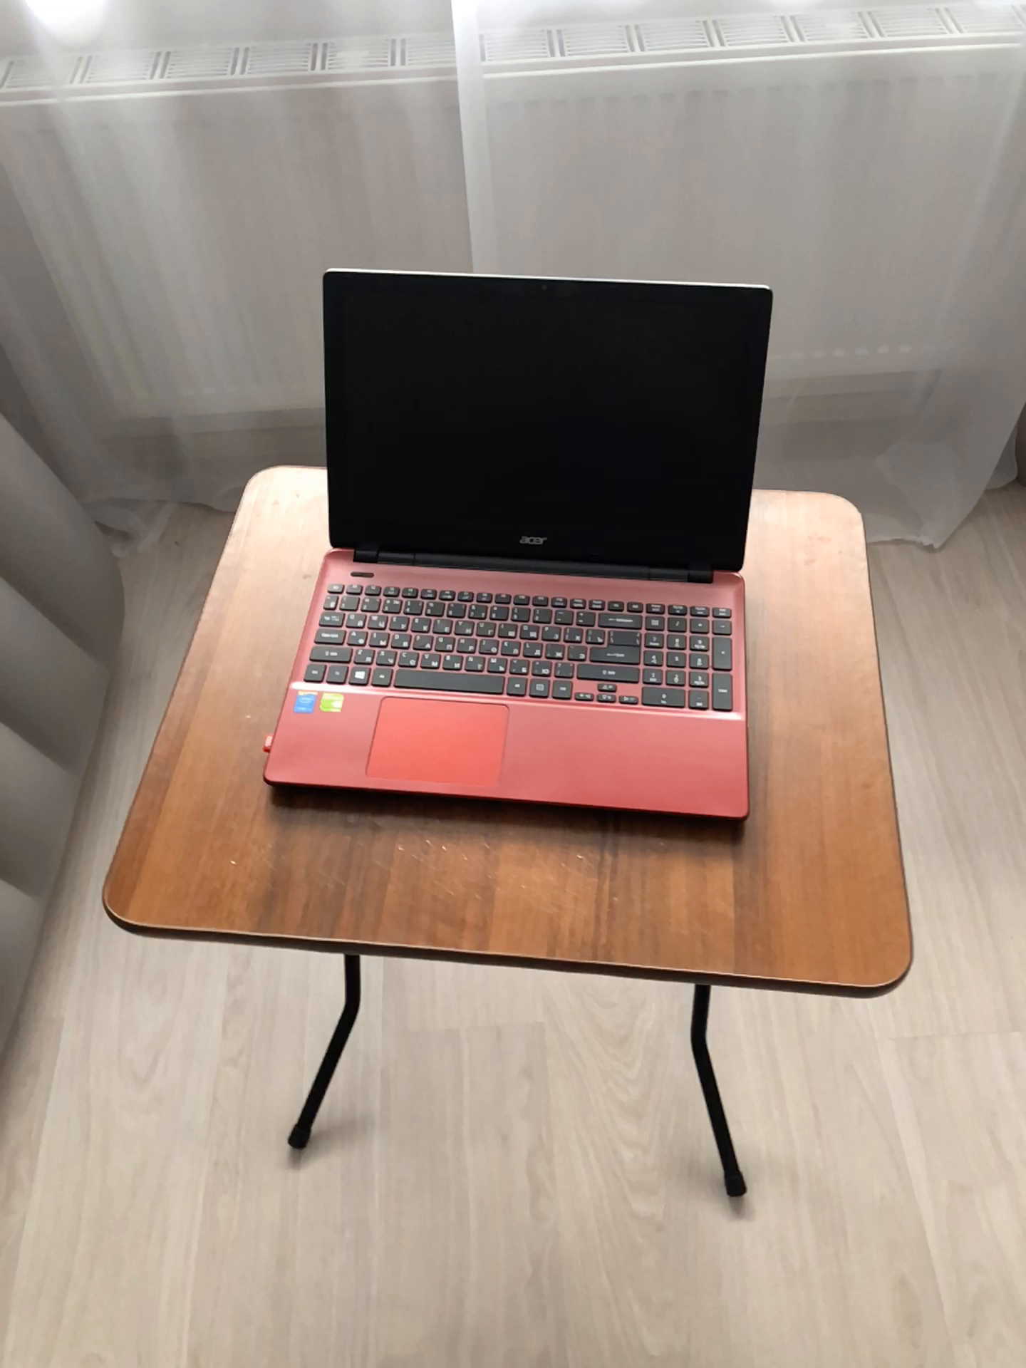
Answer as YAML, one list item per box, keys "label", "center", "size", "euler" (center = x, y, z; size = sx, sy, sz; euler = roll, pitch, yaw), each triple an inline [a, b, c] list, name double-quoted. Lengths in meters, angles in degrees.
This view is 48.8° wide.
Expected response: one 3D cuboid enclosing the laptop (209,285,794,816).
- label: "laptop"
  center: [0.015, -0.120, 0.903]
  size: [0.371, 0.191, 0.382]
  euler: [4, 53, 6]
